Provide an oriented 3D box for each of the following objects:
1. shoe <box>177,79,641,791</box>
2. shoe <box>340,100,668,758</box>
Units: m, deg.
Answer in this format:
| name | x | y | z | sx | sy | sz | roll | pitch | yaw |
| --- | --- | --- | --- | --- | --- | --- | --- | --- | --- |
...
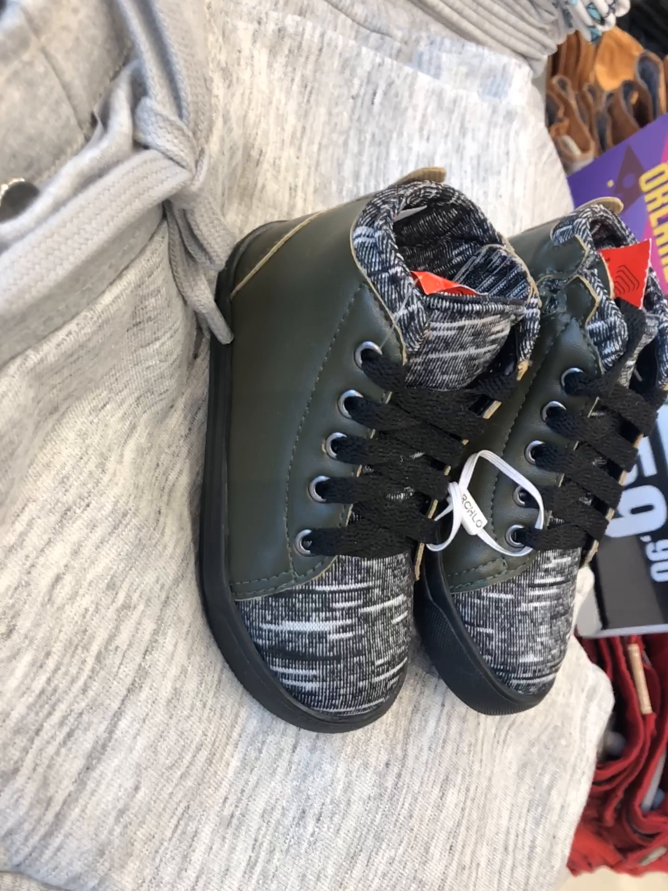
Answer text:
| name | x | y | z | sx | sy | sz | roll | pitch | yaw |
| --- | --- | --- | --- | --- | --- | --- | --- | --- | --- |
| shoe | 0.014 | 0.001 | 0.223 | 0.080 | 0.090 | 0.160 | 3 | 76 | -38 |
| shoe | 0.073 | -0.001 | 0.247 | 0.080 | 0.090 | 0.170 | 0 | 78 | -38 |
